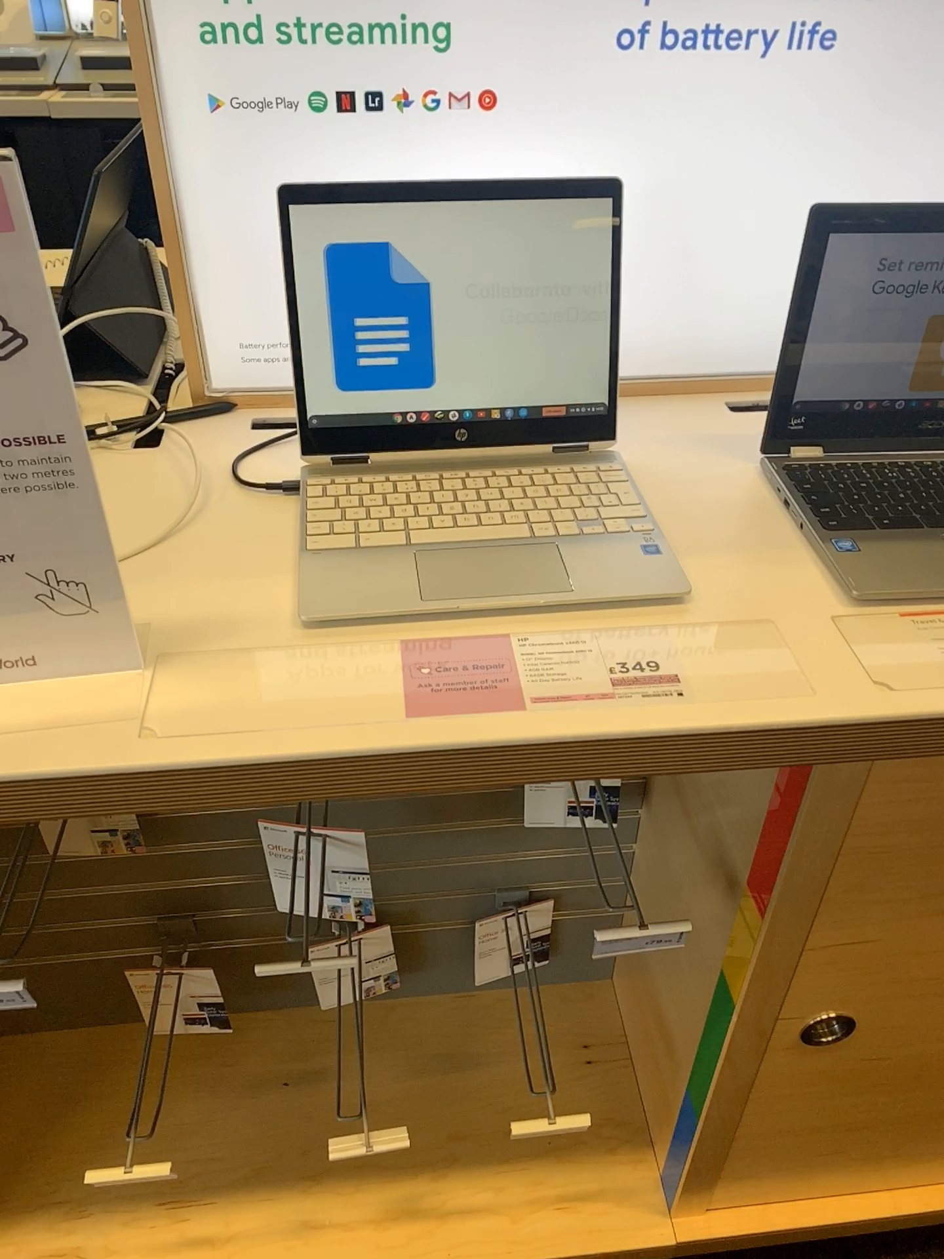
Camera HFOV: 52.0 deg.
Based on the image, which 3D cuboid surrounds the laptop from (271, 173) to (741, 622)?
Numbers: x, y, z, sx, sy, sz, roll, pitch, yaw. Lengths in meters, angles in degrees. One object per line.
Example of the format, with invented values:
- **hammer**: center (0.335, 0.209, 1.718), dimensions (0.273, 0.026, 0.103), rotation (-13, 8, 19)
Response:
- **laptop**: center (0.003, -0.177, 0.685), dimensions (0.258, 0.190, 0.271), rotation (-4, 40, -6)
